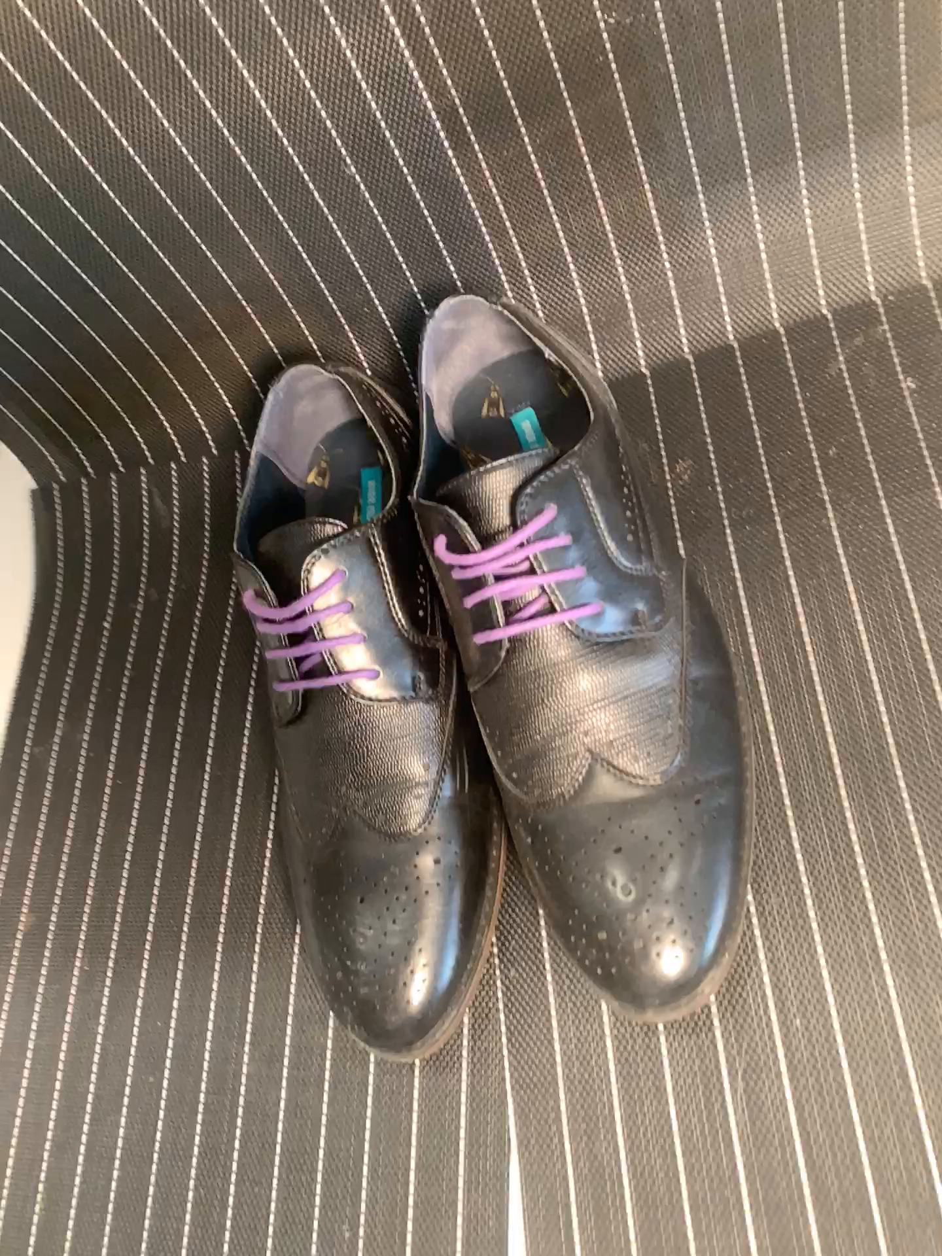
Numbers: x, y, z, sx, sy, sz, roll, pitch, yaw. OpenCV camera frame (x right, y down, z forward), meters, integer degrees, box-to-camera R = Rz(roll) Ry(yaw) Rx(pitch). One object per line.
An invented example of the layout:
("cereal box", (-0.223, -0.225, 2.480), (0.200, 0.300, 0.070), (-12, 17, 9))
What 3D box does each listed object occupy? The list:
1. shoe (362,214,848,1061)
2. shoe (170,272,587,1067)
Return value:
("shoe", (0.041, 0.000, 0.362), (0.110, 0.090, 0.280), (-16, 64, 17))
("shoe", (-0.039, 0.017, 0.412), (0.120, 0.100, 0.300), (-13, 66, 19))
